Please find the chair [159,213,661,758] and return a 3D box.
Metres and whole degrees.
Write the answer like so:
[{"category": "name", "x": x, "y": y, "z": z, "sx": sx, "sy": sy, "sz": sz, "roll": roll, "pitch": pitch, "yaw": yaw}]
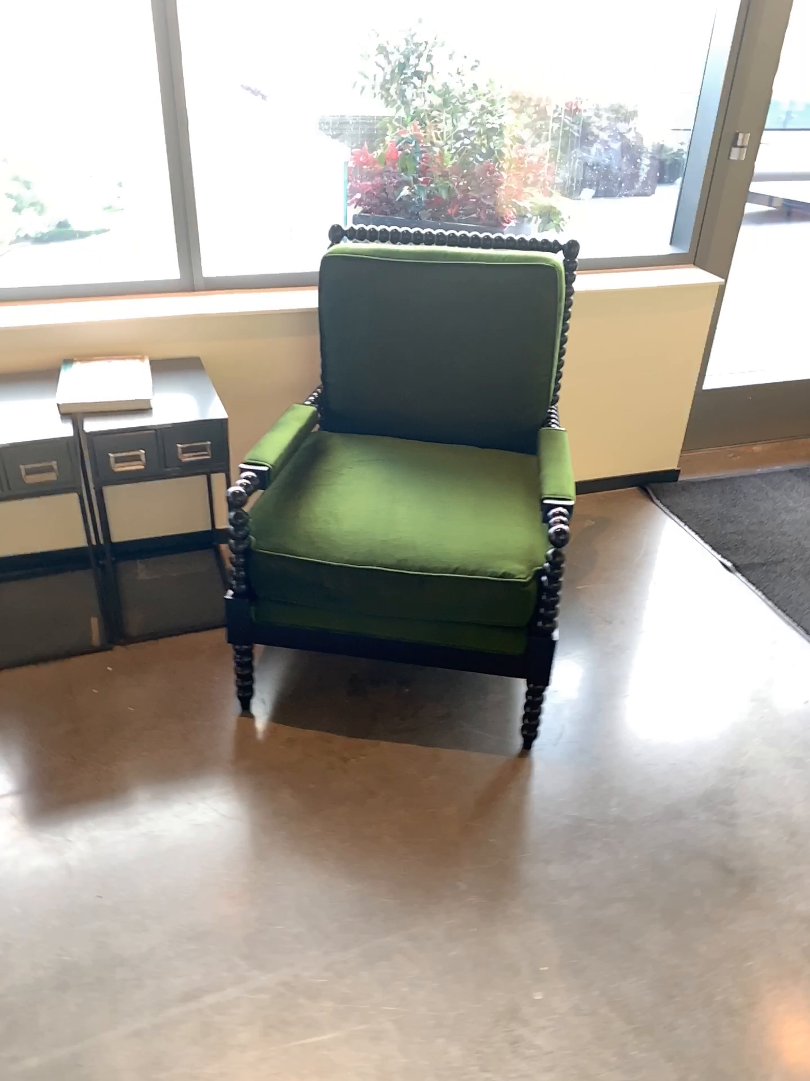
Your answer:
[{"category": "chair", "x": 0.054, "y": -0.204, "z": 2.052, "sx": 0.870, "sy": 0.924, "sz": 0.946, "roll": 7, "pitch": 33, "yaw": 7}]
